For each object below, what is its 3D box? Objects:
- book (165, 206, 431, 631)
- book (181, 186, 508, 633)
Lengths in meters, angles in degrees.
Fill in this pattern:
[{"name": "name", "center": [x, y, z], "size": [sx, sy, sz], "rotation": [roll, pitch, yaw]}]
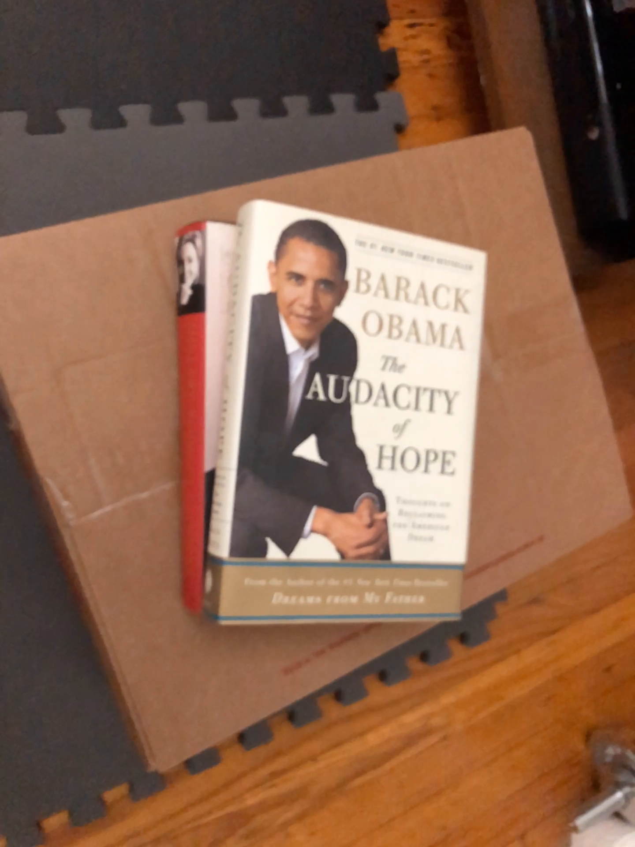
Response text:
[{"name": "book", "center": [-0.010, -0.004, 0.472], "size": [0.170, 0.040, 0.250], "rotation": [-1, 90, -24]}, {"name": "book", "center": [0.023, -0.001, 0.453], "size": [0.190, 0.040, 0.250], "rotation": [6, 87, -24]}]
